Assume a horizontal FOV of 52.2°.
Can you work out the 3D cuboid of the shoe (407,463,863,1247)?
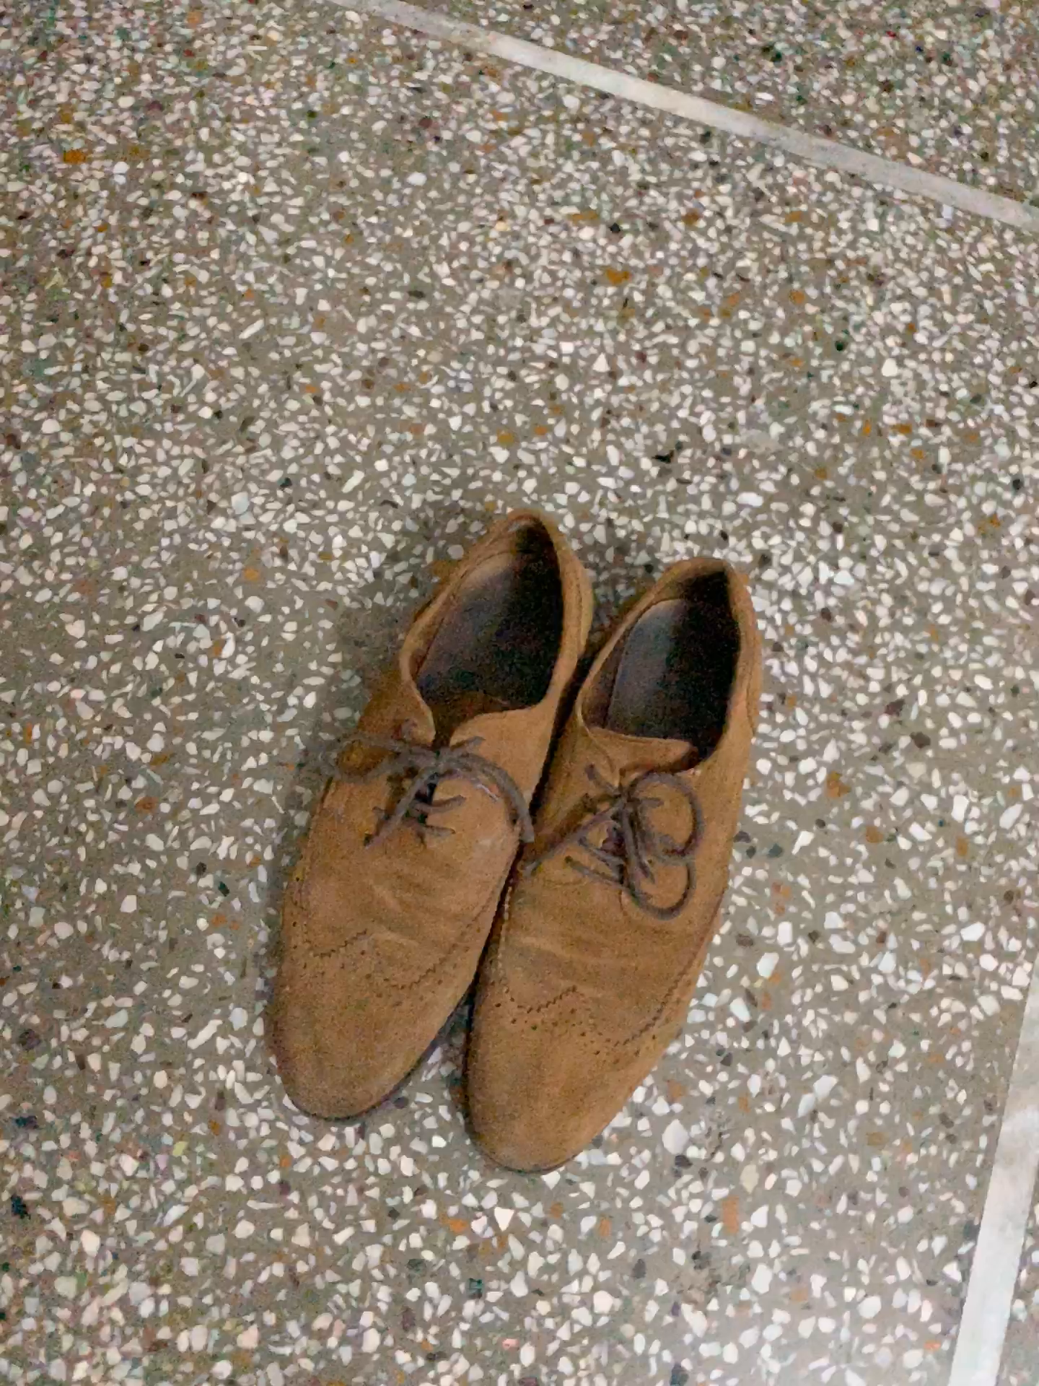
[{"bbox_3d":[0.055,0.065,0.491,0.100,0.110,0.309,19,72,5],"label":"shoe"}]

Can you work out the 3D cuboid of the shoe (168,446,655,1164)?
[{"bbox_3d":[-0.040,0.050,0.524,0.100,0.110,0.309,21,72,5],"label":"shoe"}]
